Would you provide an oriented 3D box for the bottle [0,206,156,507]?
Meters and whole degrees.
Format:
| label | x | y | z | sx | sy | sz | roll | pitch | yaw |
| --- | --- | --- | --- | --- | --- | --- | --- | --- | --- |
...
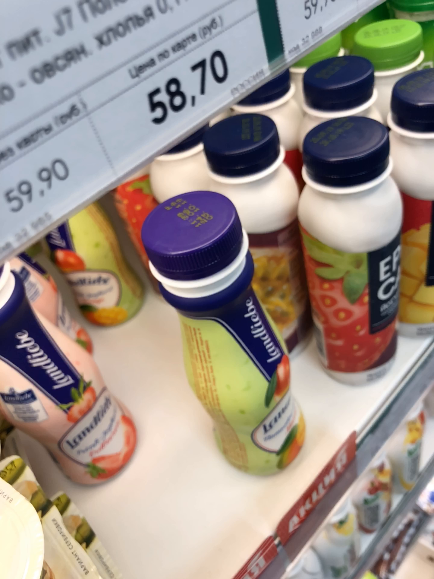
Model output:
| label | x | y | z | sx | sy | sz | roll | pitch | yaw |
| --- | --- | --- | --- | --- | --- | --- | --- | --- | --- |
| bottle | -0.097 | 0.048 | 0.269 | 0.053 | 0.178 | 0.057 | -8 | 46 | 9 |

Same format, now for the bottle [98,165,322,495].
| label | x | y | z | sx | sy | sz | roll | pitch | yaw |
| --- | --- | --- | --- | --- | --- | --- | --- | --- | --- |
| bottle | 0.010 | 0.033 | 0.248 | 0.053 | 0.177 | 0.055 | -8 | 46 | 9 |

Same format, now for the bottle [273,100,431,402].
| label | x | y | z | sx | sy | sz | roll | pitch | yaw |
| --- | --- | --- | --- | --- | --- | --- | --- | --- | --- |
| bottle | 0.078 | -0.010 | 0.281 | 0.048 | 0.173 | 0.051 | -8 | 46 | 9 |
